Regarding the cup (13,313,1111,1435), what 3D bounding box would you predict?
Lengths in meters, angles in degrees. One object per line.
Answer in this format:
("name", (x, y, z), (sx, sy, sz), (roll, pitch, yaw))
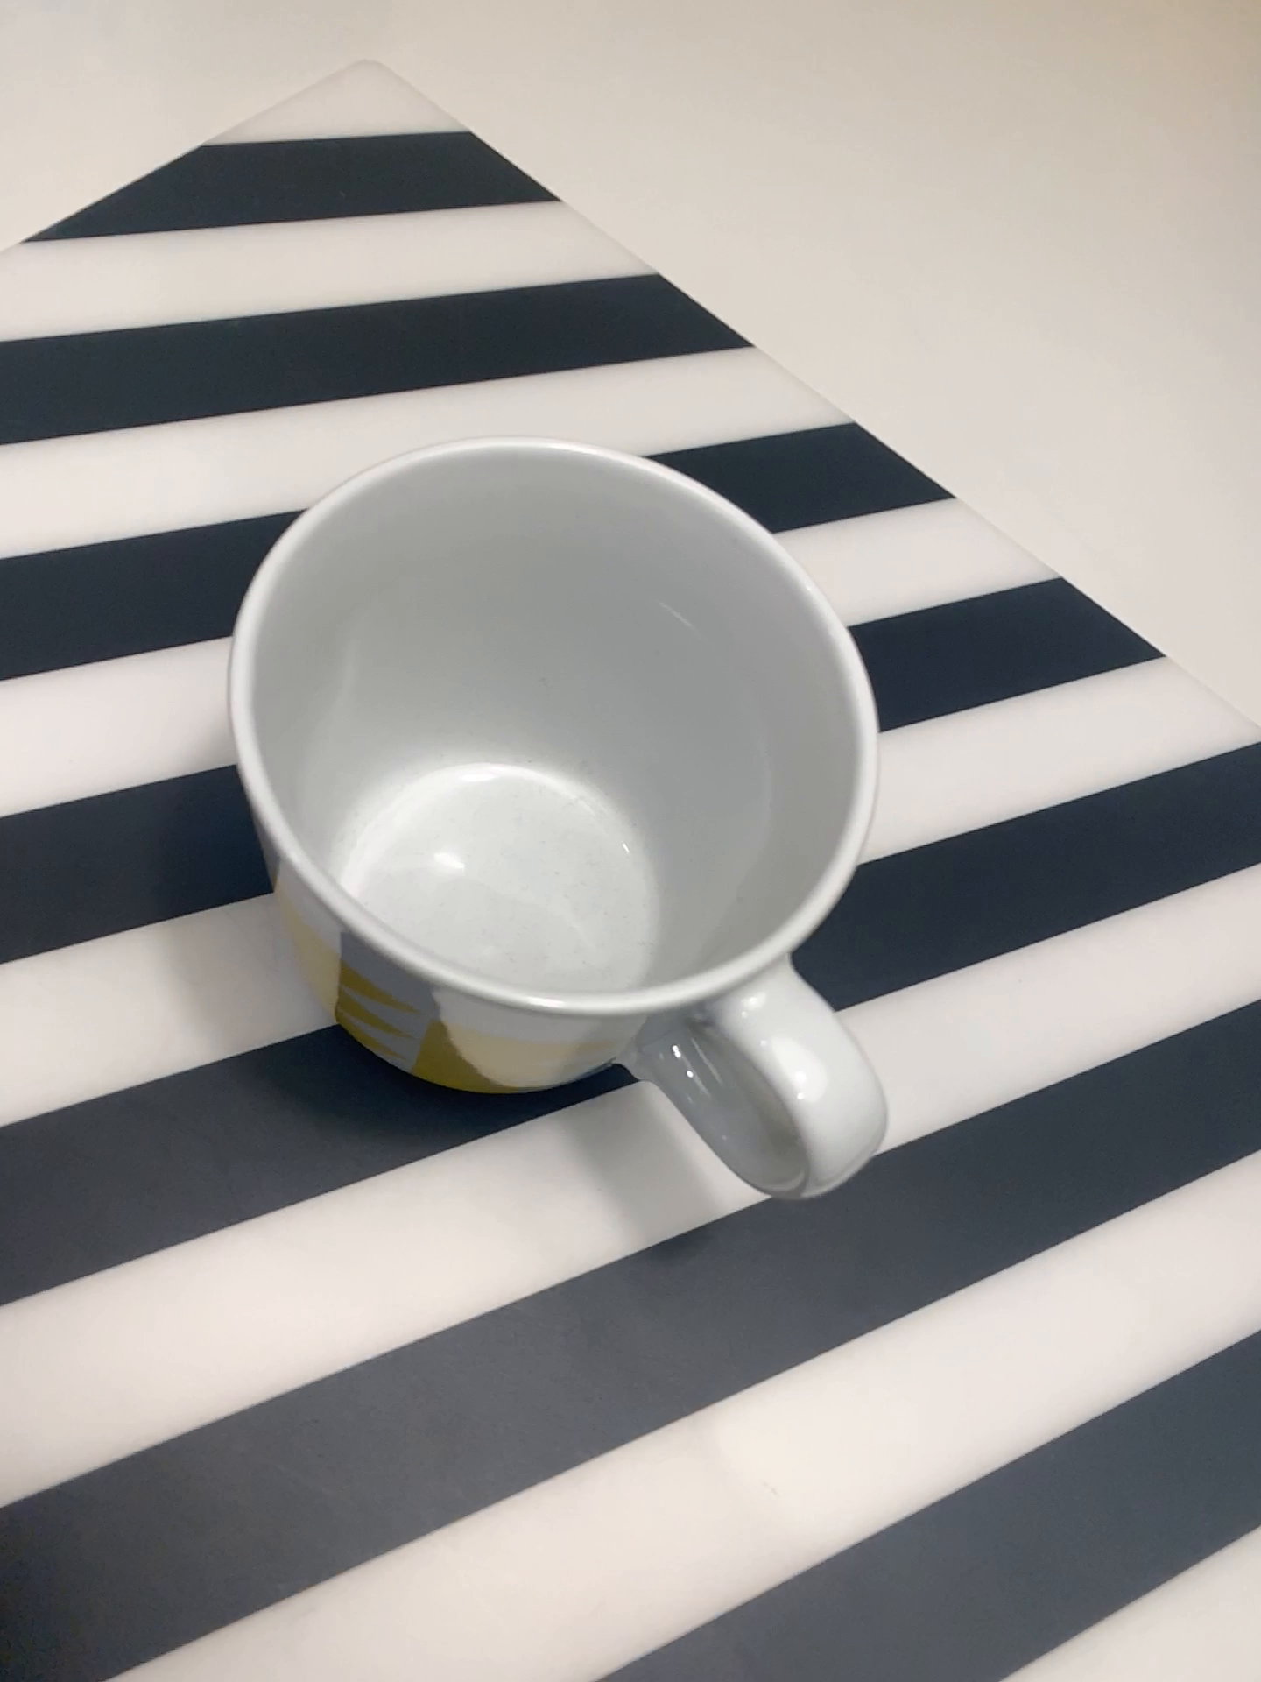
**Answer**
("cup", (-0.014, 0.006, 0.171), (0.070, 0.070, 0.110), (-30, 75, -25))
